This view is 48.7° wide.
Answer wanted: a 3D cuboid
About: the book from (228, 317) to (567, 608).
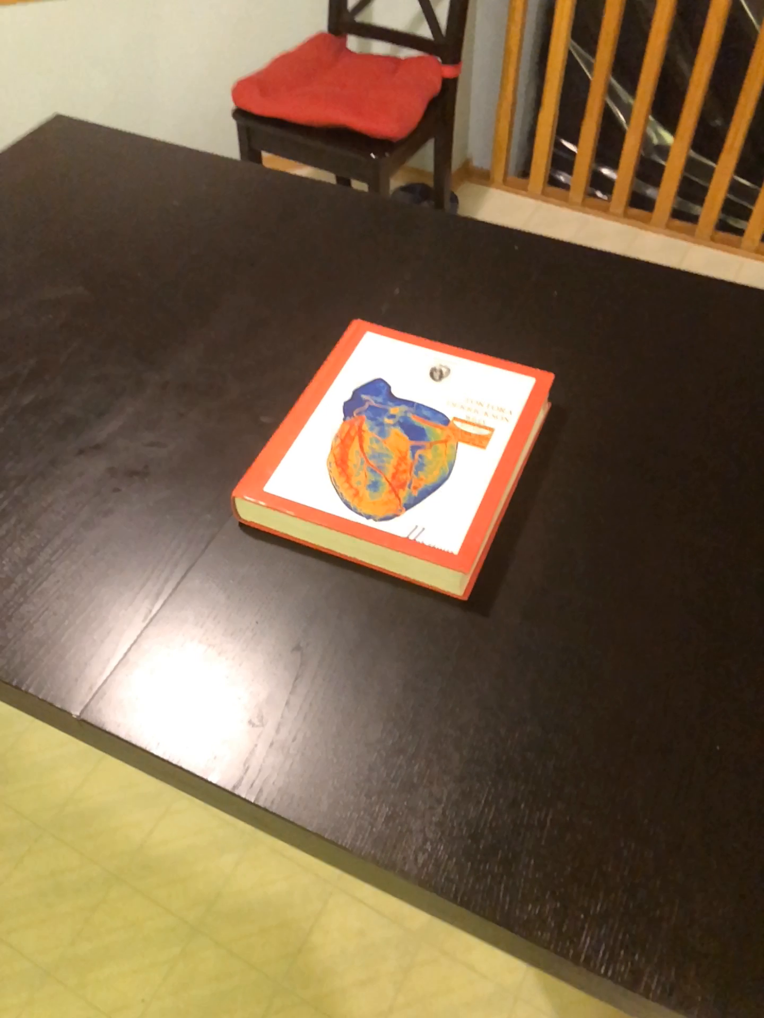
[{"bbox_3d":[0.026,-0.065,0.868,0.250,0.050,0.291,18,52,15],"label":"book"}]
